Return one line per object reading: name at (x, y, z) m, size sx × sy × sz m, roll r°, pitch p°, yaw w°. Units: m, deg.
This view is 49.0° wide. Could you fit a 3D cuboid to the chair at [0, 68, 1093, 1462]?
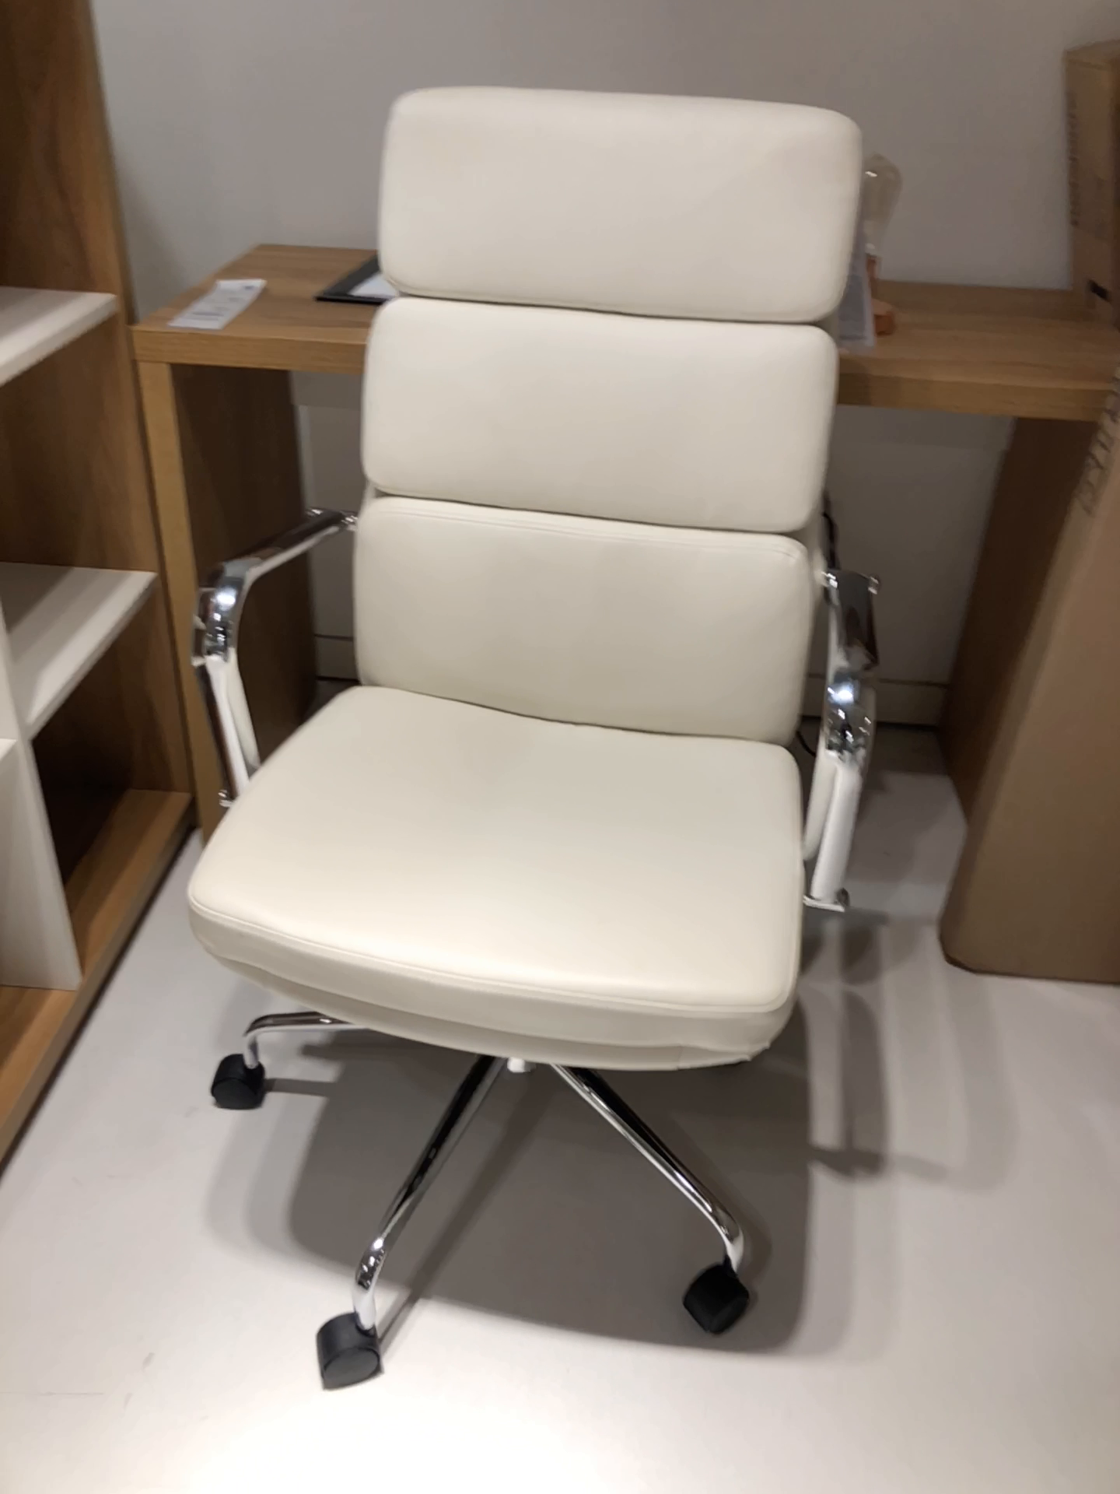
chair at (-0.049, -0.007, 1.148) m, size 0.640 × 1.032 × 0.686 m, roll 6°, pitch 32°, yaw 5°
